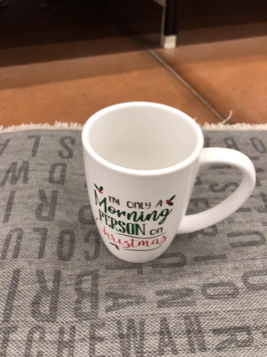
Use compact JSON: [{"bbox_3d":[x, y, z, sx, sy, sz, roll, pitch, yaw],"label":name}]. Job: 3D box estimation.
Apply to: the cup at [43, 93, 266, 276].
[{"bbox_3d":[0.021,0.005,0.233,0.140,0.100,0.090,3,43,1],"label":"cup"}]
